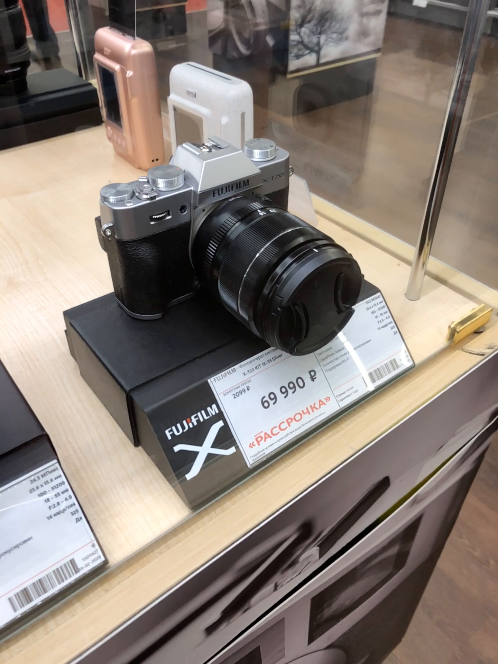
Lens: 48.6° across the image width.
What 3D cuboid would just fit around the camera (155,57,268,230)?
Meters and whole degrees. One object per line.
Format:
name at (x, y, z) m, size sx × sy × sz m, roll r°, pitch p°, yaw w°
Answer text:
camera at (-0.031, -0.159, 0.464) m, size 0.039 × 0.110 × 0.094 m, roll -28°, pitch 47°, yaw -30°

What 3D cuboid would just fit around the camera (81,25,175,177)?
camera at (-0.123, -0.238, 0.567) m, size 0.043 × 0.117 × 0.101 m, roll -22°, pitch 45°, yaw -25°

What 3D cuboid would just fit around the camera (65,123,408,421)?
camera at (-0.011, -0.045, 0.307) m, size 0.124 × 0.080 × 0.130 m, roll -24°, pitch 46°, yaw -27°
